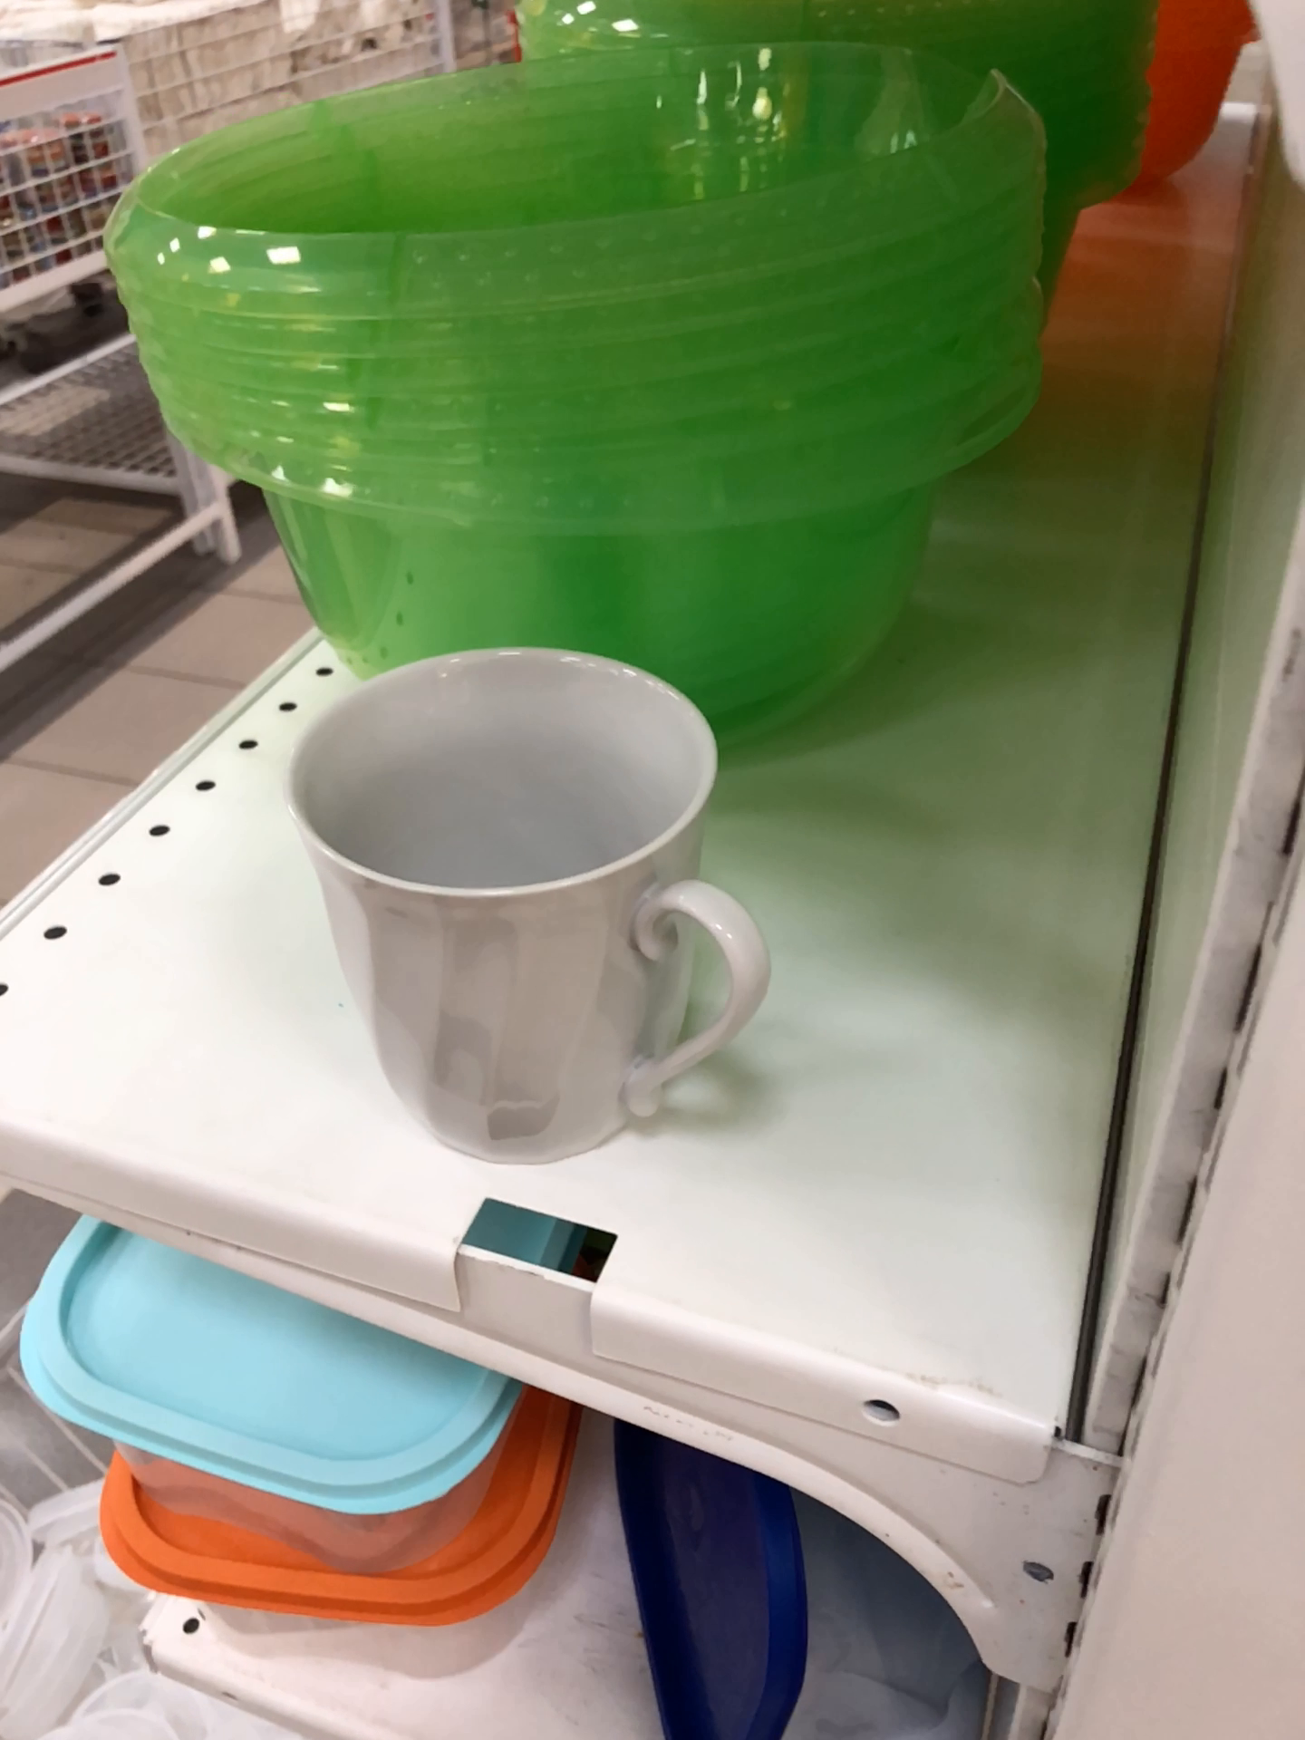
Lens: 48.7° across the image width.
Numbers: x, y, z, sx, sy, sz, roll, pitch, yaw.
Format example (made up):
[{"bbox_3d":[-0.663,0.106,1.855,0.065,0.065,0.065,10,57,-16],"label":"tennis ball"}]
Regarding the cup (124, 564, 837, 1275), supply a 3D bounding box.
[{"bbox_3d":[-0.036,0.002,0.315,0.090,0.080,0.119,-31,45,-32],"label":"cup"}]
